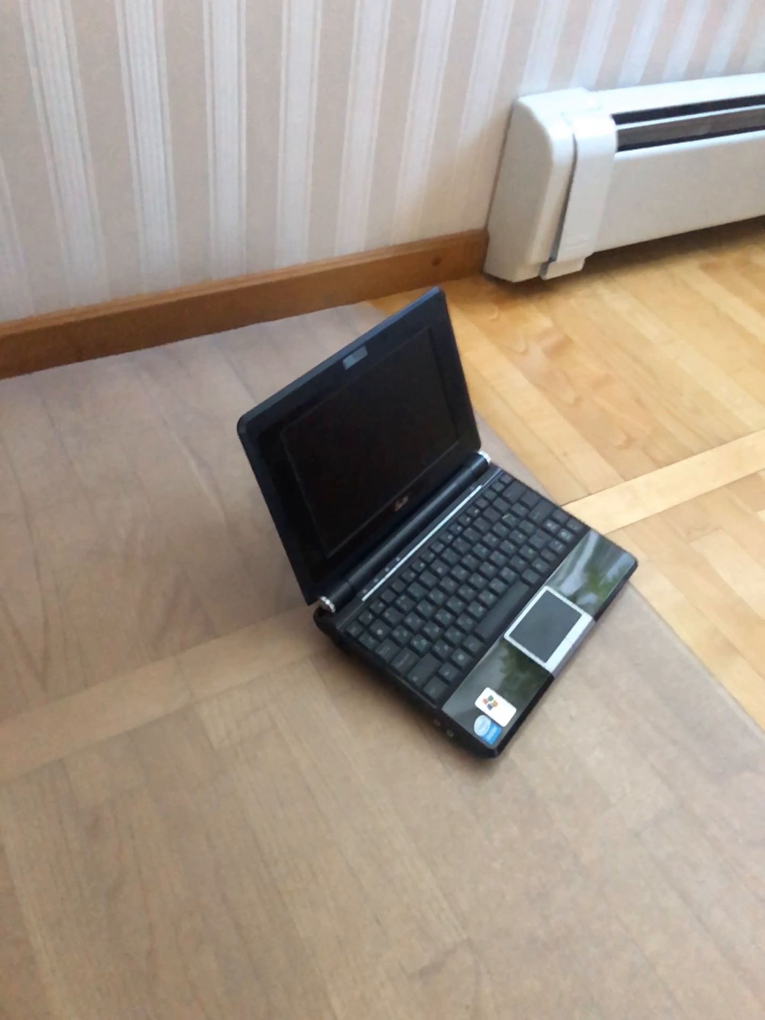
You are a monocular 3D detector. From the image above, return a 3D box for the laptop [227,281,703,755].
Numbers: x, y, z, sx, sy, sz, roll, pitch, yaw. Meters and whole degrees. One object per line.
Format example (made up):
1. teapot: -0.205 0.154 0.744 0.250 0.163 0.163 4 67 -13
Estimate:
1. laptop: 0.065 -0.011 0.709 0.276 0.159 0.265 34 50 18
